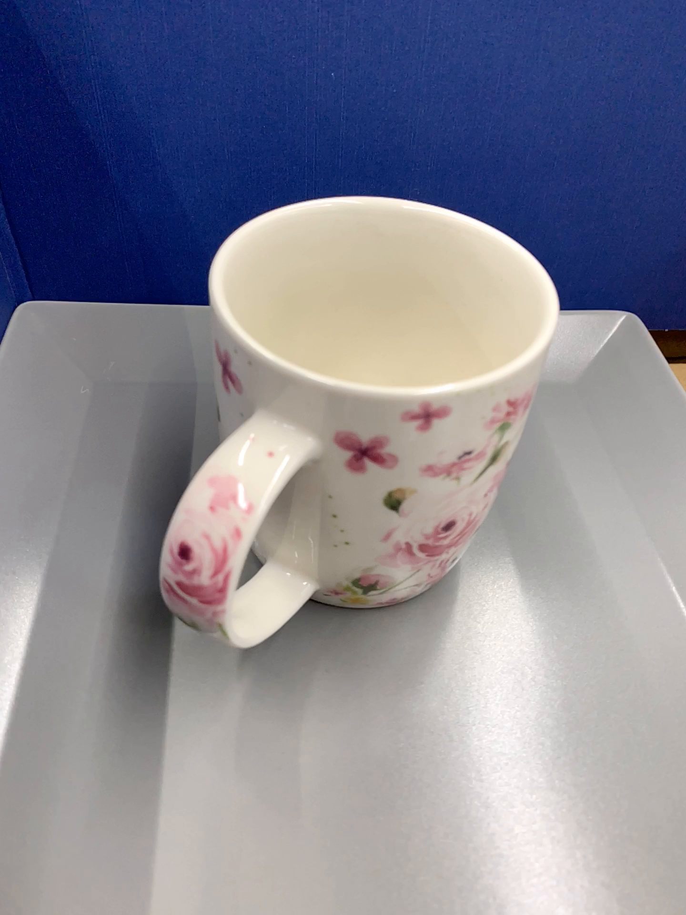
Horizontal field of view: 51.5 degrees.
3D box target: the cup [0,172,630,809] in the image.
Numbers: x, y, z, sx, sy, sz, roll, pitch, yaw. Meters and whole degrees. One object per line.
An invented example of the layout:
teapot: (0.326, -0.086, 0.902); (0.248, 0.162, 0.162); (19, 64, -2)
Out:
cup: (-0.002, -0.001, 0.179); (0.085, 0.087, 0.110); (28, 49, 25)
